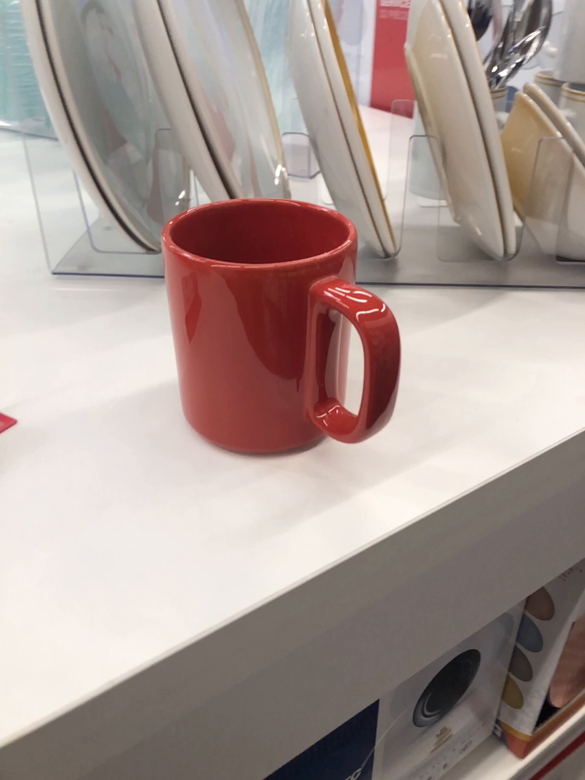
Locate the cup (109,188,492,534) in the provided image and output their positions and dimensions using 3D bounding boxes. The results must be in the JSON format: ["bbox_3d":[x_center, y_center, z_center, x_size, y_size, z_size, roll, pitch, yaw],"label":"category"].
[{"bbox_3d":[-0.001,-0.024,0.282,0.091,0.082,0.129,-26,41,-34],"label":"cup"}]
